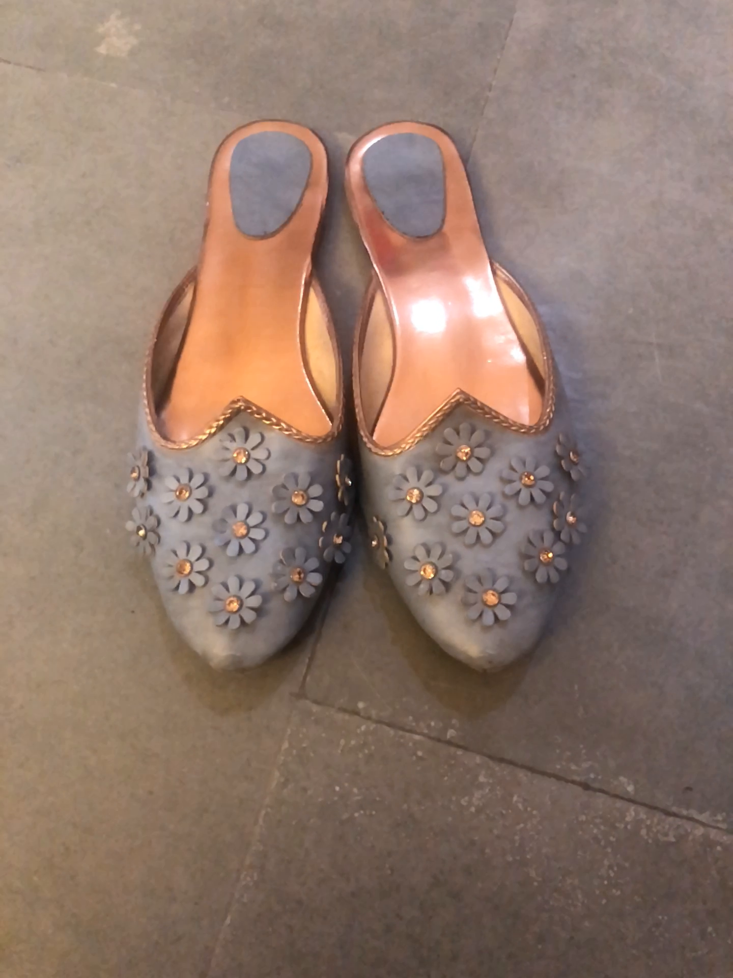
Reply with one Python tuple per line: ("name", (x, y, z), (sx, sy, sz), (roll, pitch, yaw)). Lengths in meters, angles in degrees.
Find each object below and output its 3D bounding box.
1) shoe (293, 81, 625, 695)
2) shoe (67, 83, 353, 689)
("shoe", (0.030, -0.054, 0.364), (0.100, 0.050, 0.270), (-6, 70, 0))
("shoe", (-0.057, -0.053, 0.360), (0.100, 0.050, 0.270), (-1, 70, 2))
